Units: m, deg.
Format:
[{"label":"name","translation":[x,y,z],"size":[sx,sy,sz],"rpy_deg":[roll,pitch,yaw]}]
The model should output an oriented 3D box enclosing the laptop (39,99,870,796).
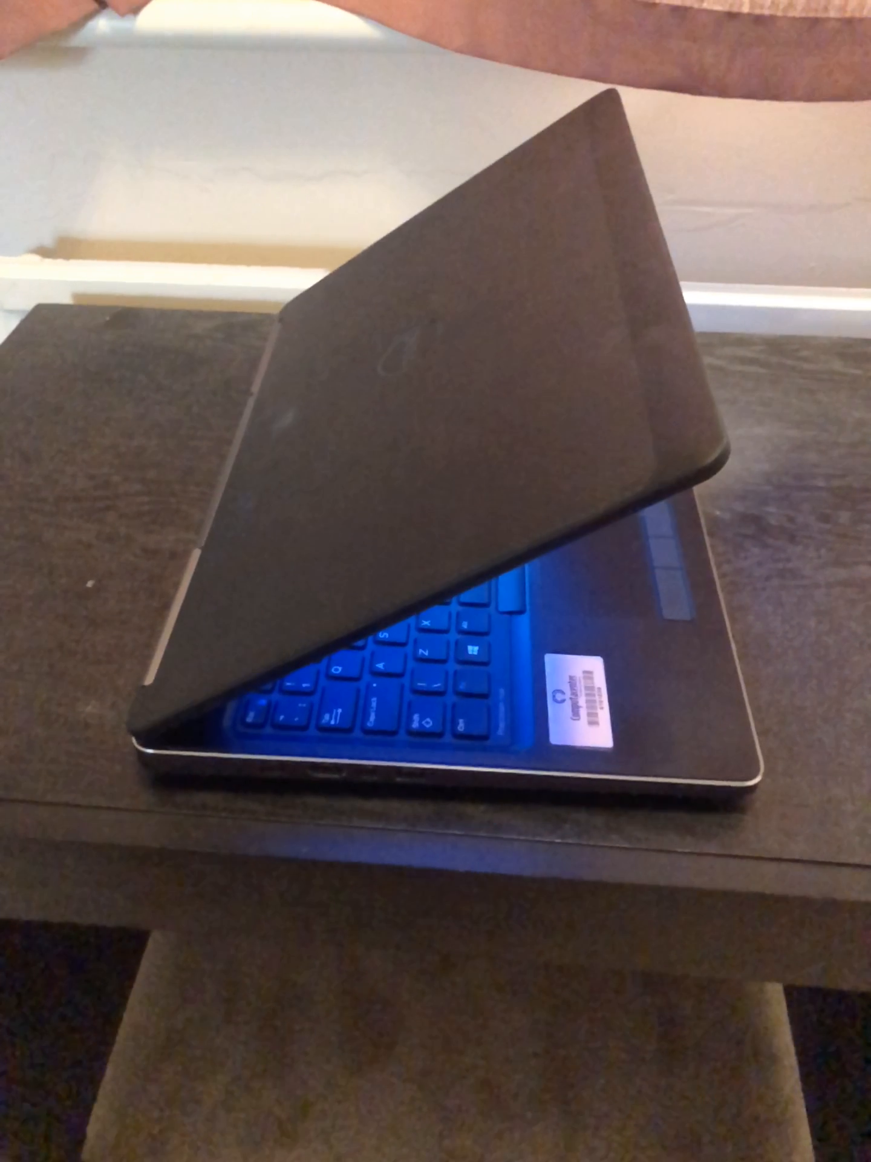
[{"label":"laptop","translation":[0.012,-0.100,0.460],"size":[0.243,0.134,0.365],"rpy_deg":[3,42,3]}]
